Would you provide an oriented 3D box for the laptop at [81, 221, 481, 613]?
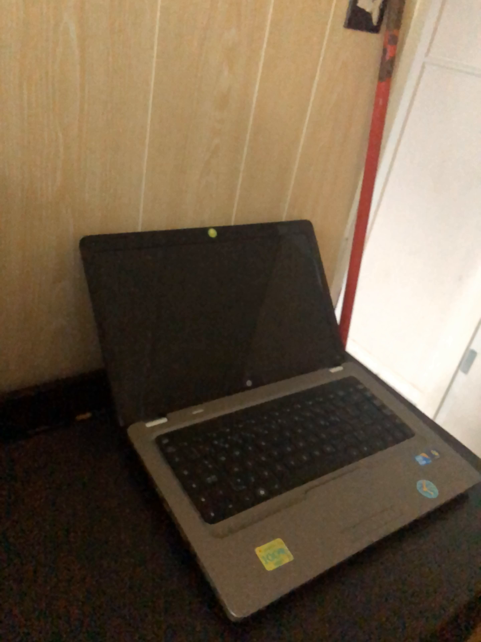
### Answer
[{"bbox_3d":[0.052,0.046,0.659,0.363,0.154,0.420,-10,39,-33],"label":"laptop"}]
